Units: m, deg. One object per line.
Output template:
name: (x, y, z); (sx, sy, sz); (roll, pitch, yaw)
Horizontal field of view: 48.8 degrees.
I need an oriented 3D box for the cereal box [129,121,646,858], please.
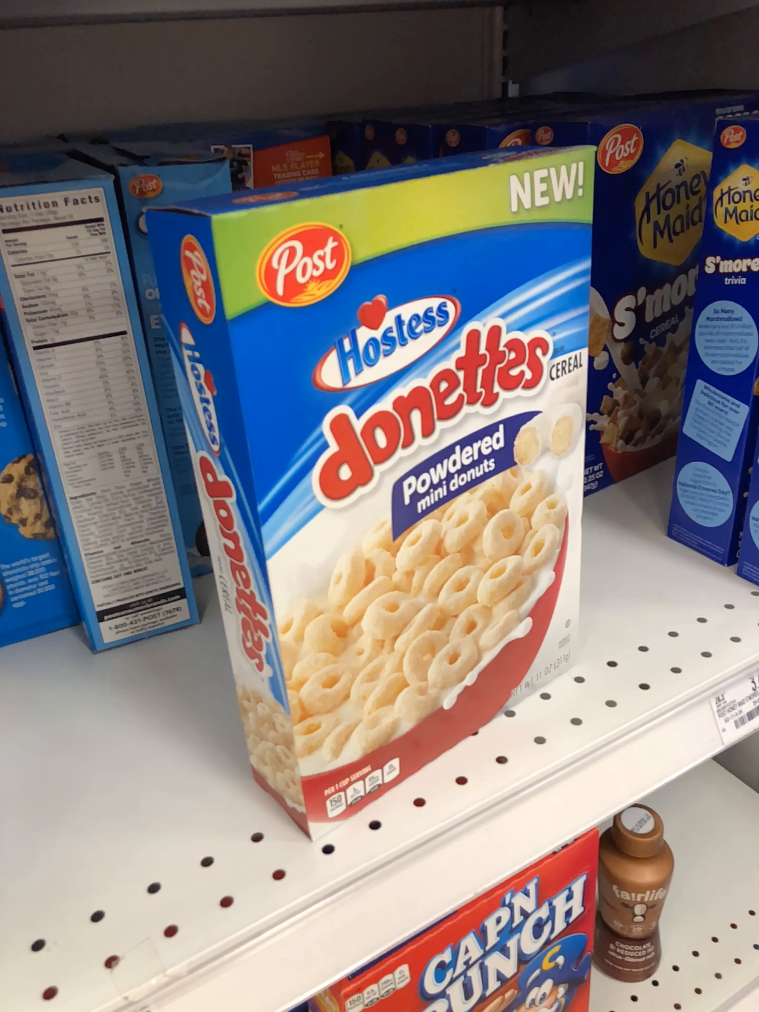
cereal box: (0.022, -0.013, 0.357); (0.190, 0.259, 0.060); (-24, 32, -32)
